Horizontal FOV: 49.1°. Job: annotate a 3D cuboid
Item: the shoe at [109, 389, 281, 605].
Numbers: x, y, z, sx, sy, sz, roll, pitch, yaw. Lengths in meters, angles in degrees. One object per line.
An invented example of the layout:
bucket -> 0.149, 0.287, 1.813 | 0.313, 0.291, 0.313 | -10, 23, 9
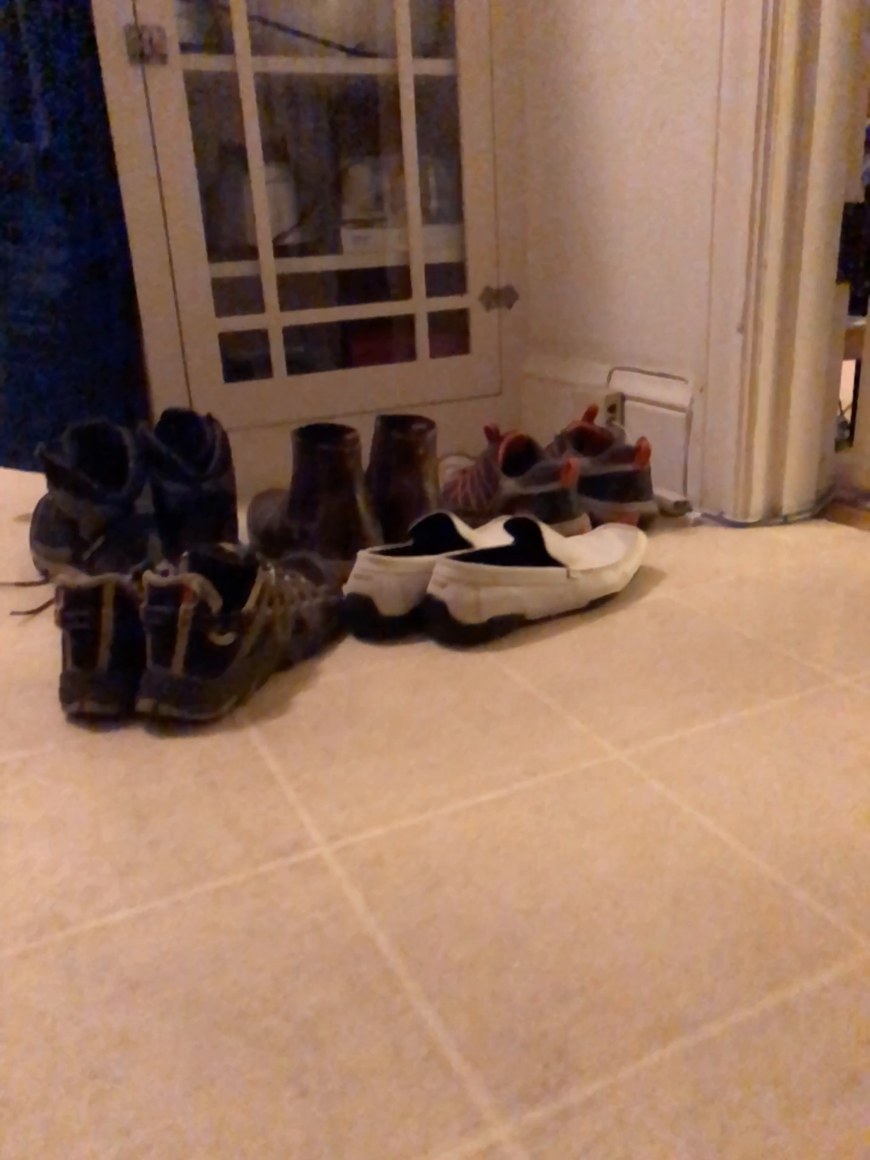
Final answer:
shoe -> -0.309, -0.119, 1.195 | 0.110, 0.192, 0.324 | -12, 22, -25

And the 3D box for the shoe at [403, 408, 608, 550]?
shoe -> 0.083, -0.142, 1.247 | 0.110, 0.113, 0.314 | -13, 22, -26

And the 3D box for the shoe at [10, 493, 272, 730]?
shoe -> -0.261, 0.015, 0.910 | 0.110, 0.123, 0.294 | 0, 20, 9

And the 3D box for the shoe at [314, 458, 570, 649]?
shoe -> 0.020, -0.041, 1.038 | 0.110, 0.113, 0.304 | 13, 25, 37

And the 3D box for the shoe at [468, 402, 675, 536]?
shoe -> 0.176, -0.162, 1.302 | 0.110, 0.113, 0.314 | -13, 22, -26

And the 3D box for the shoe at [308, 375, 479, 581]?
shoe -> -0.063, -0.148, 1.242 | 0.110, 0.192, 0.324 | -10, 21, -19

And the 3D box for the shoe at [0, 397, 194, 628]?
shoe -> -0.407, -0.095, 1.123 | 0.110, 0.192, 0.324 | -15, 23, -31

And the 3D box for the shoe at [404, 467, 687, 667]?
shoe -> 0.123, -0.025, 0.984 | 0.304, 0.113, 0.110 | -19, 25, -38

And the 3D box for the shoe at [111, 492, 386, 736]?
shoe -> -0.158, 0.016, 0.903 | 0.110, 0.123, 0.294 | 4, 21, 20

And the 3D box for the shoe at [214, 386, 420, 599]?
shoe -> -0.155, -0.124, 1.195 | 0.110, 0.192, 0.324 | -15, 23, -30
